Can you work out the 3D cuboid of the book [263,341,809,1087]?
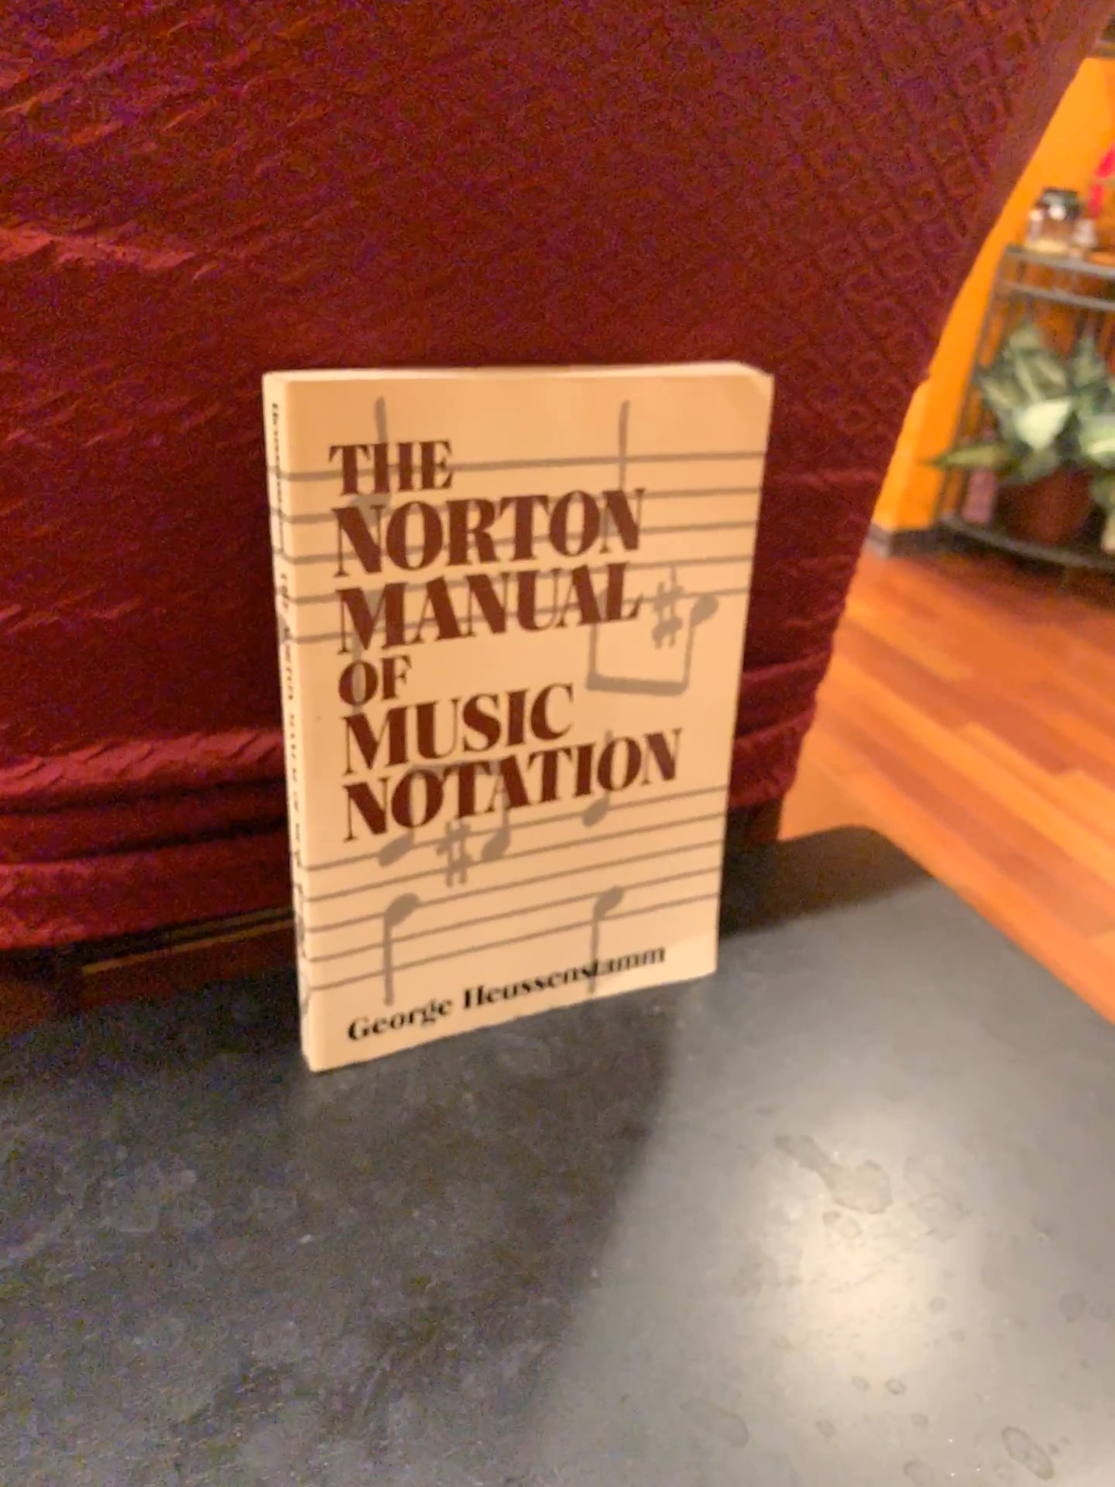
[{"bbox_3d":[-0.007,-0.010,0.427,0.180,0.259,0.030,-9,26,-24],"label":"book"}]
